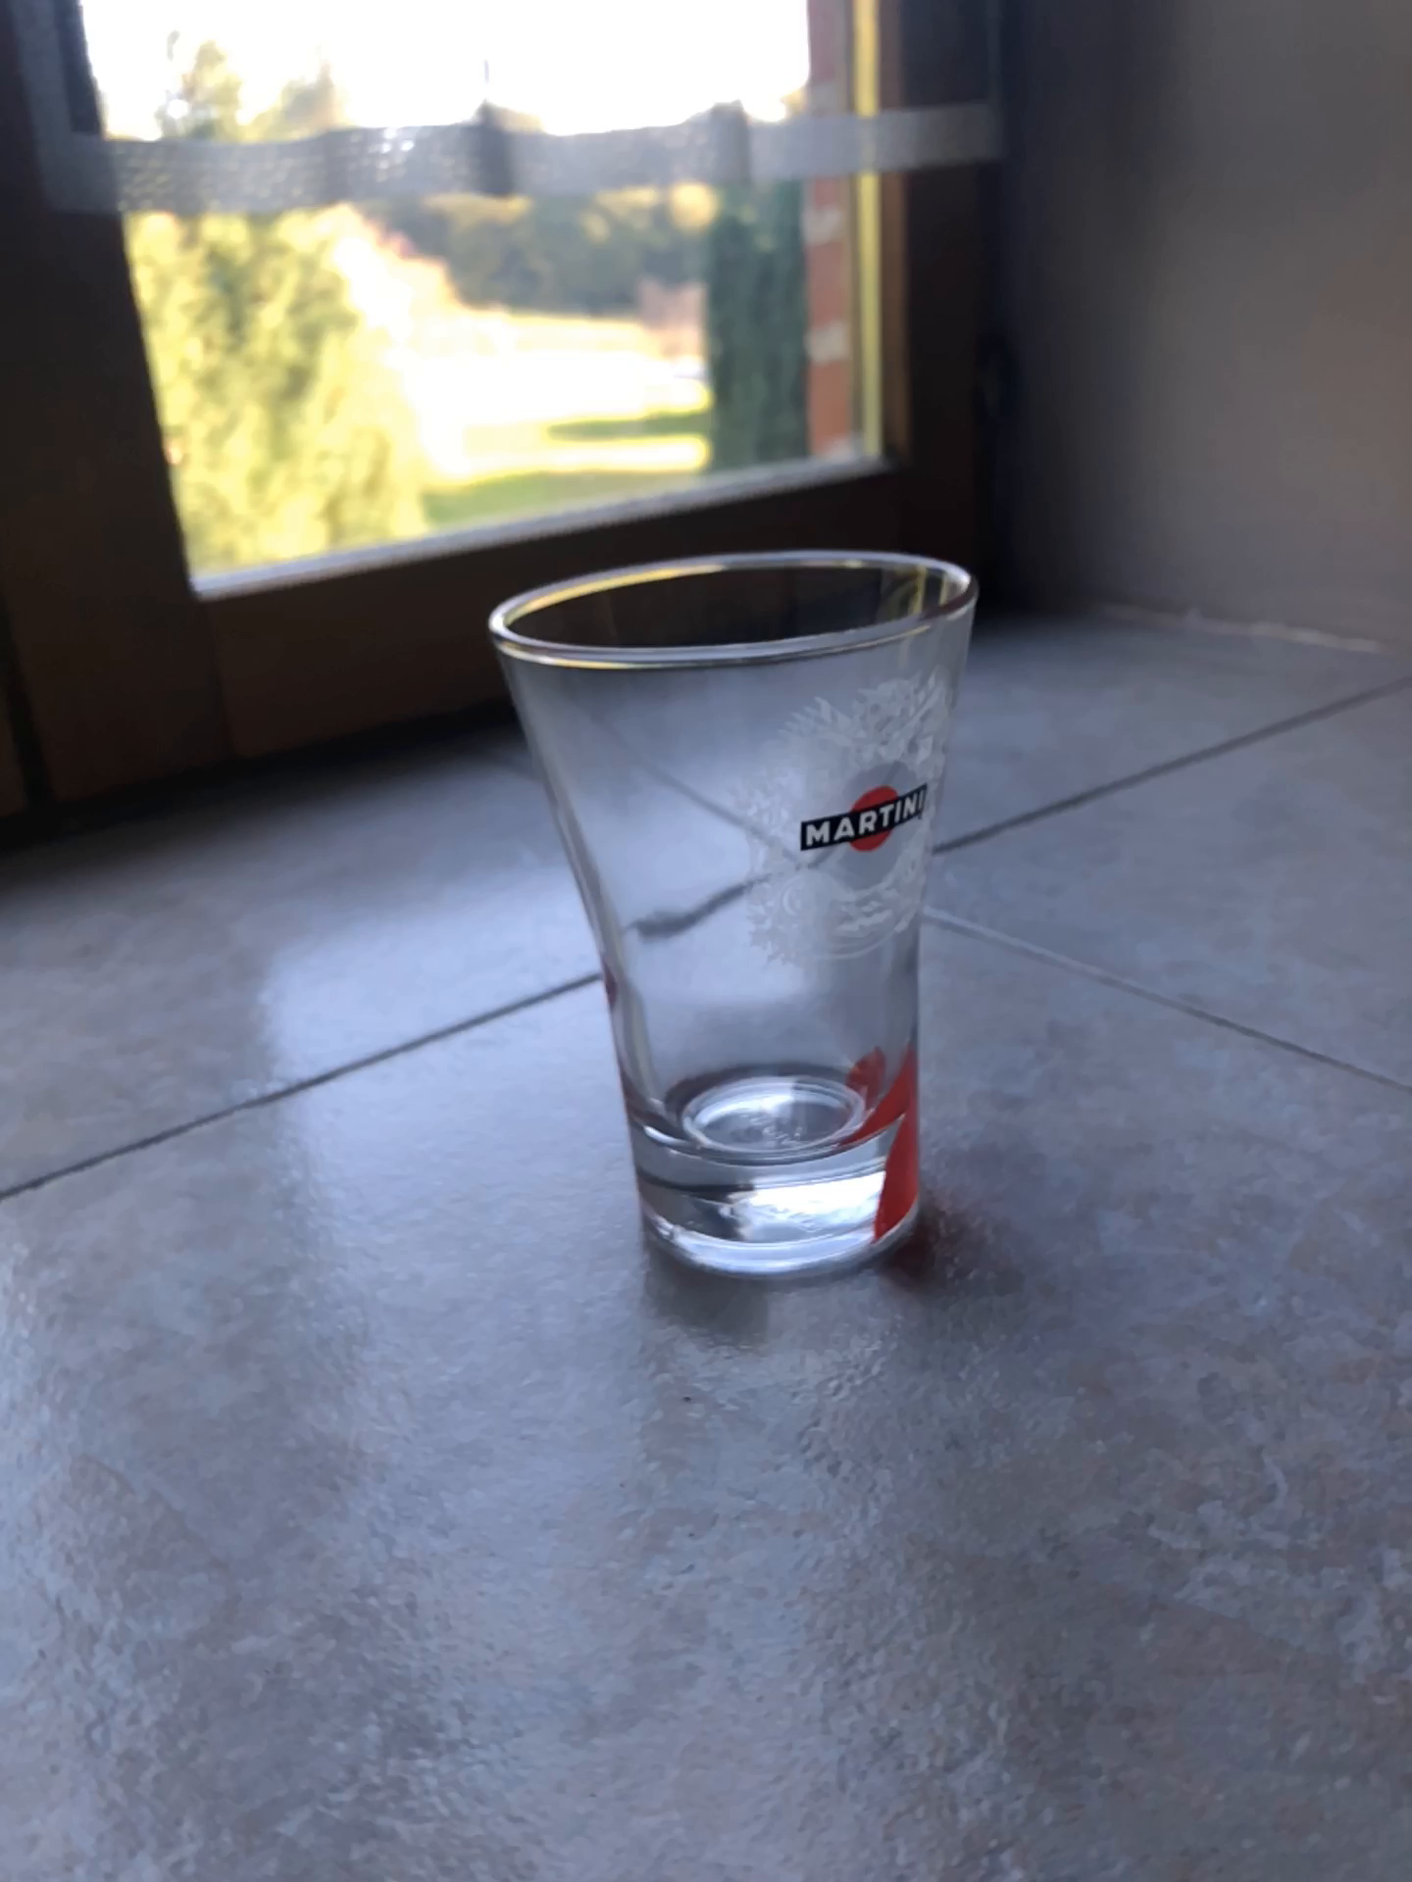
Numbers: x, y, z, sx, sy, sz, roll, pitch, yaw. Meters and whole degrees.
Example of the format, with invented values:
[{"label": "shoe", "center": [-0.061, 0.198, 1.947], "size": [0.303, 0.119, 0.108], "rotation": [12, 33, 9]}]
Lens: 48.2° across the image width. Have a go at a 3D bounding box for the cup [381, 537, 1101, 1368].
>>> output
[{"label": "cup", "center": [0.006, -0.007, 0.305], "size": [0.096, 0.116, 0.092], "rotation": [-3, 24, 1]}]
